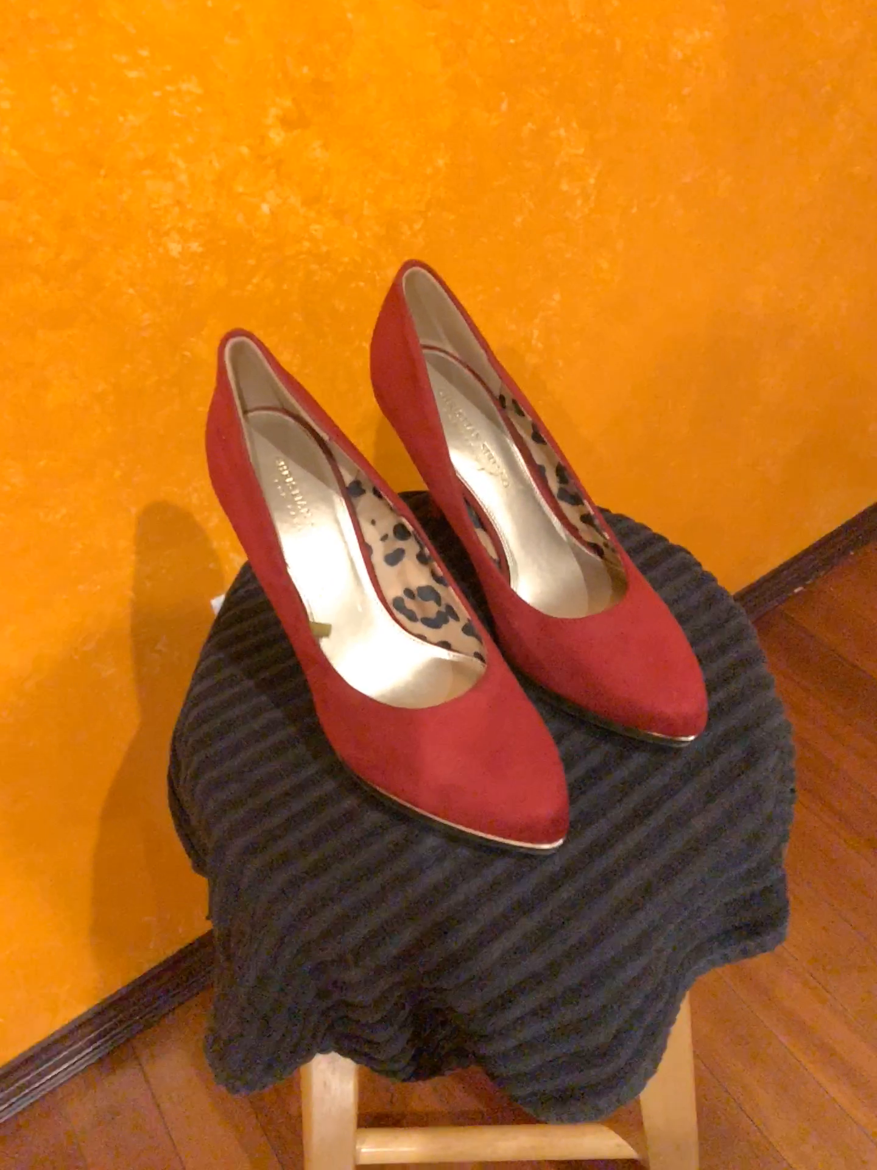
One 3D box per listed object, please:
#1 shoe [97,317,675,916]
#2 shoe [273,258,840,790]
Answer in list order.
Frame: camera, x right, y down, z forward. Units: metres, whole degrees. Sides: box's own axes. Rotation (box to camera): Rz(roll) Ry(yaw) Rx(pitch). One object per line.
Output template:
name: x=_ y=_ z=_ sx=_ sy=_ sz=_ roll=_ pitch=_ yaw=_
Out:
shoe: x=-0.043 y=-0.012 z=0.413 sx=0.100 sy=0.119 sz=0.291 roll=-27 pitch=44 yaw=-26
shoe: x=0.034 y=-0.051 z=0.433 sx=0.093 sy=0.128 sz=0.271 roll=-26 pitch=43 yaw=-25
